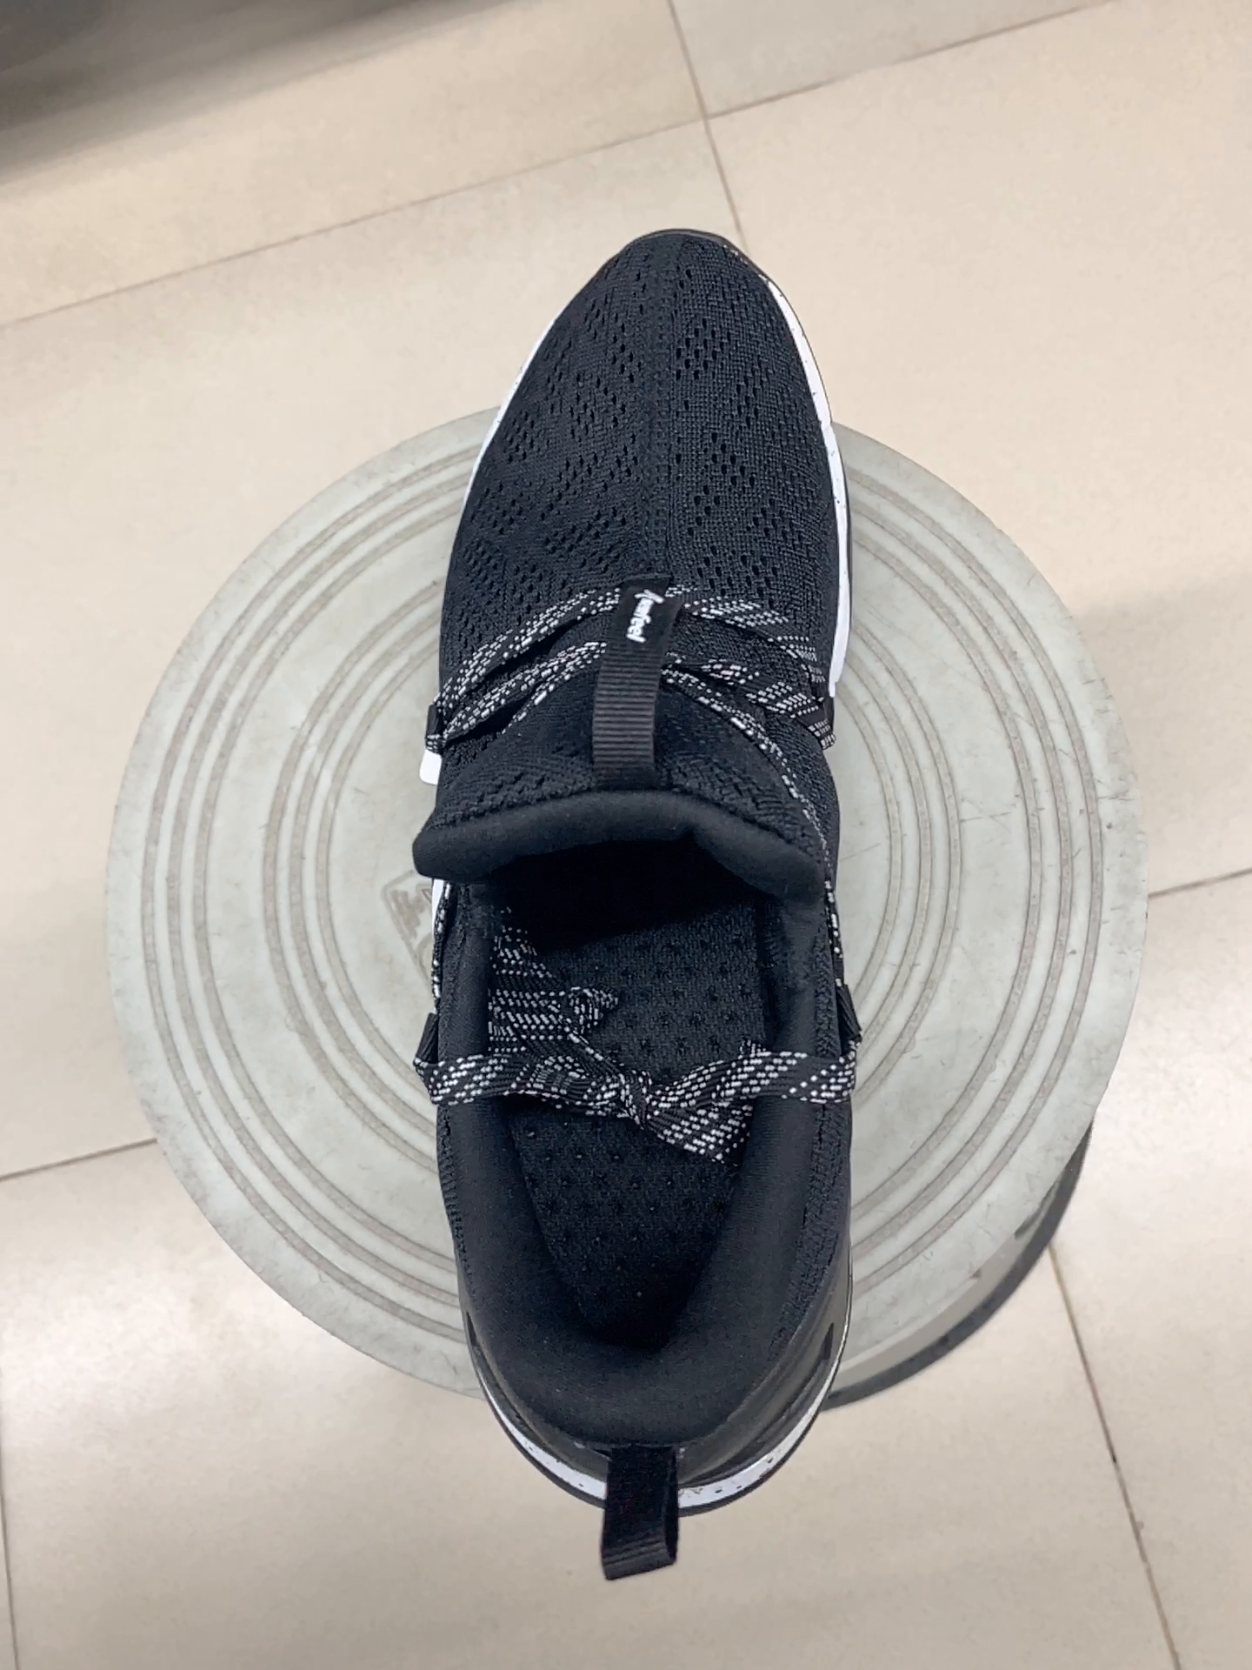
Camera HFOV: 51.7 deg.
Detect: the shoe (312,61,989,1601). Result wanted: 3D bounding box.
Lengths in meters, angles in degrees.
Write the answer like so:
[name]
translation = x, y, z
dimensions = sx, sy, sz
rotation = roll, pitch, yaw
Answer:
[shoe]
translation = 0.006, -0.012, 0.278
dimensions = 0.100, 0.090, 0.290
rotation = -3, 71, 7
